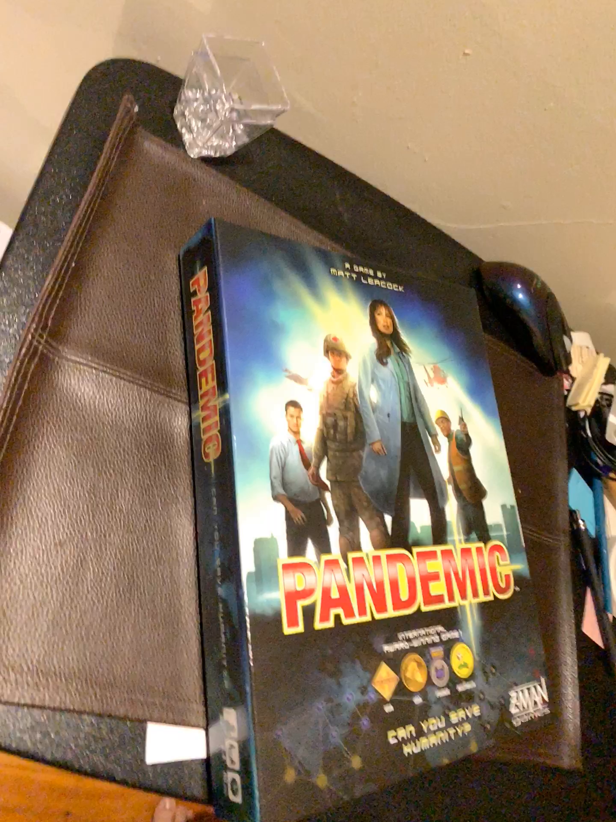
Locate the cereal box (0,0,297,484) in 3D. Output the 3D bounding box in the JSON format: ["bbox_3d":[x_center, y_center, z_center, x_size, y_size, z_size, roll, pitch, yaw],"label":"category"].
[{"bbox_3d":[-0.576,-0.315,0.988,0.472,0.996,0.510,-33,94,-39],"label":"cereal box"}]
